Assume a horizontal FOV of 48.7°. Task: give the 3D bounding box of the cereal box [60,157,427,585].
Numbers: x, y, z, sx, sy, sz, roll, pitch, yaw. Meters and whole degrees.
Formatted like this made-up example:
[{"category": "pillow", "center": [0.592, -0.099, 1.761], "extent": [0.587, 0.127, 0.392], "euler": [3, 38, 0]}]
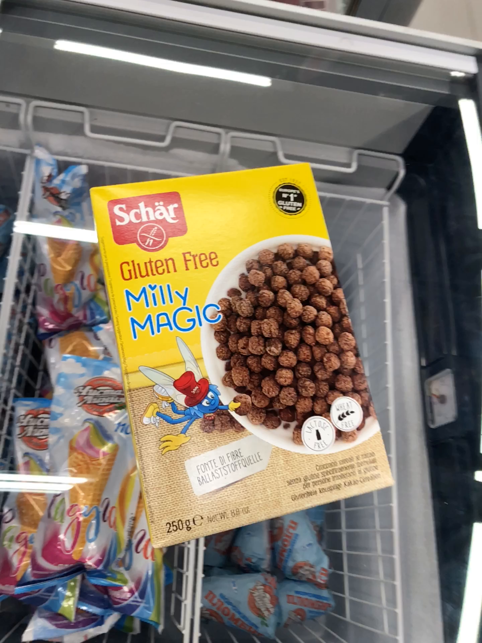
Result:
[{"category": "cereal box", "center": [-0.006, 0.021, 0.341], "extent": [0.170, 0.070, 0.220], "euler": [-11, 78, -12]}]
